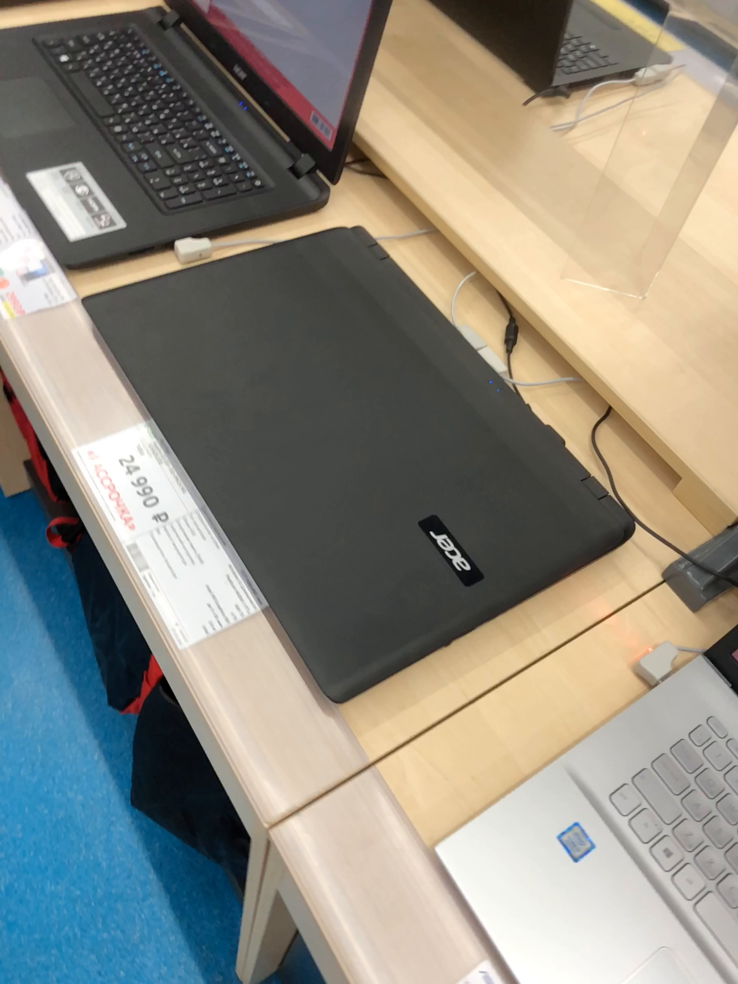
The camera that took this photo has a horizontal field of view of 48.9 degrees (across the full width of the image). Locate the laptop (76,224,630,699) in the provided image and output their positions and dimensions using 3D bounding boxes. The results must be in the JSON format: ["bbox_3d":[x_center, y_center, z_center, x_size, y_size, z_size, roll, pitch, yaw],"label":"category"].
[{"bbox_3d":[-0.022,-0.066,0.675,0.278,0.005,0.411,-26,63,-25],"label":"laptop"}]
